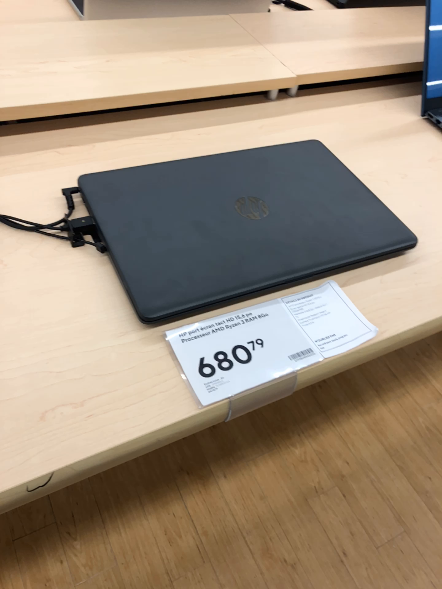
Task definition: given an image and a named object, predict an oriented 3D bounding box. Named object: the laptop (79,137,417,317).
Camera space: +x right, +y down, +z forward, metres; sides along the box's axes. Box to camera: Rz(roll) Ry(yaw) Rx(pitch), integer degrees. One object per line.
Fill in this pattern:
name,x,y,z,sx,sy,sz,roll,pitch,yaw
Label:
laptop,0.037,-0.113,0.630,0.374,0.005,0.244,-16,53,-24
